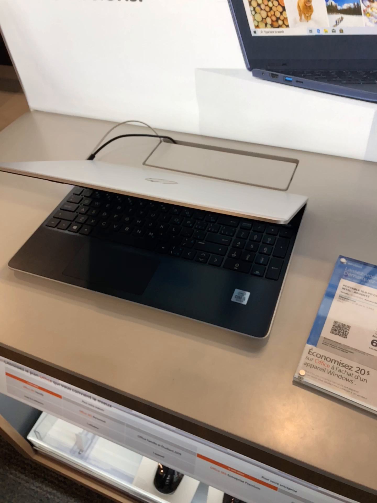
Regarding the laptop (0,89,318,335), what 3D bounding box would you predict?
[{"bbox_3d":[-0.042,-0.074,0.525,0.346,0.131,0.230,13,49,19],"label":"laptop"}]
